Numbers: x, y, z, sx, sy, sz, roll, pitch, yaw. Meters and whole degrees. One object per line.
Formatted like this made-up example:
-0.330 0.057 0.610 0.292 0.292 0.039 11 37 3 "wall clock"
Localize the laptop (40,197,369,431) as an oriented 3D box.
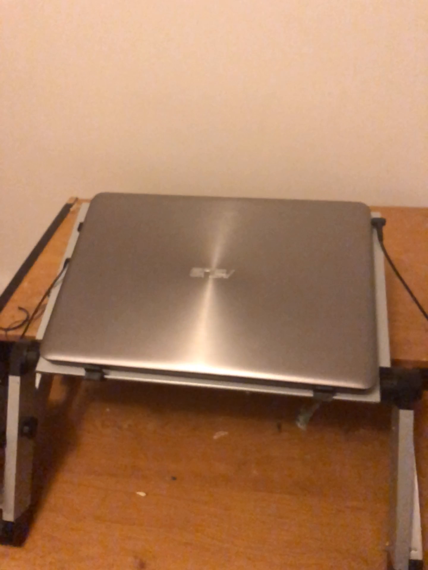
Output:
-0.002 0.018 0.603 0.362 0.071 0.250 4 55 10 "laptop"
